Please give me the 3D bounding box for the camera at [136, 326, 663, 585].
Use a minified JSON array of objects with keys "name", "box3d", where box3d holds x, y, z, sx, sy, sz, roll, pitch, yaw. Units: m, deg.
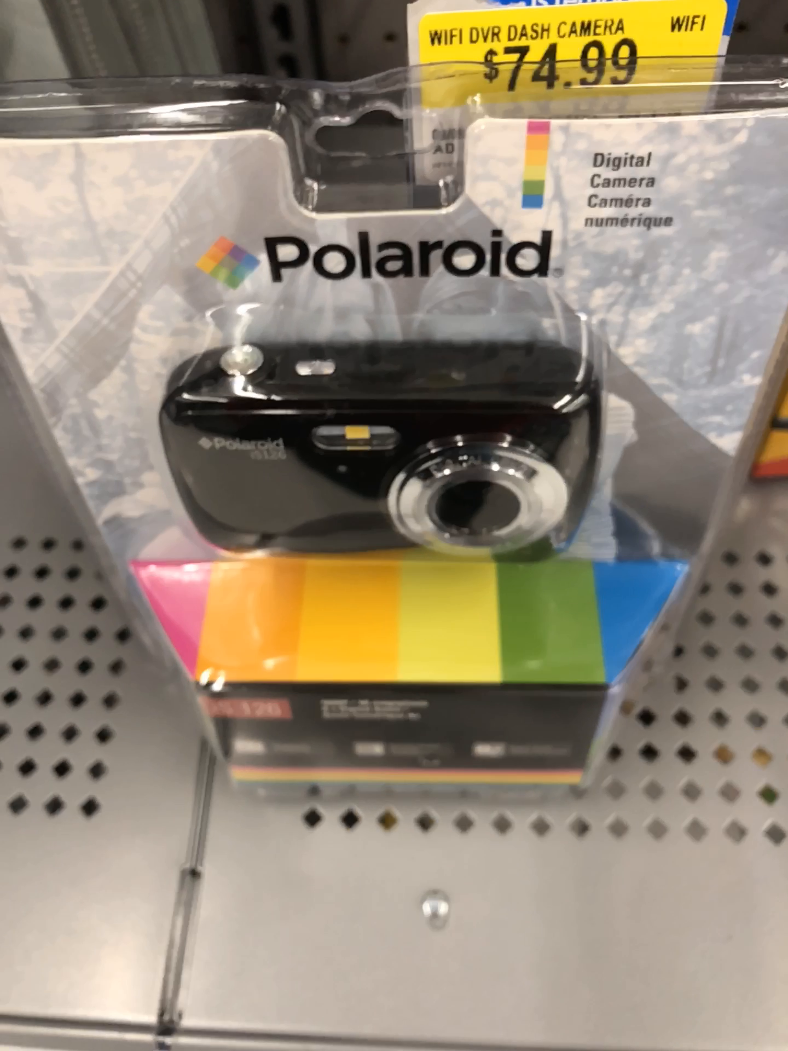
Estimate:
[{"name":"camera","box3d":[0.002,-0.013,0.204,0.100,0.060,0.030,0,61,2]}]
